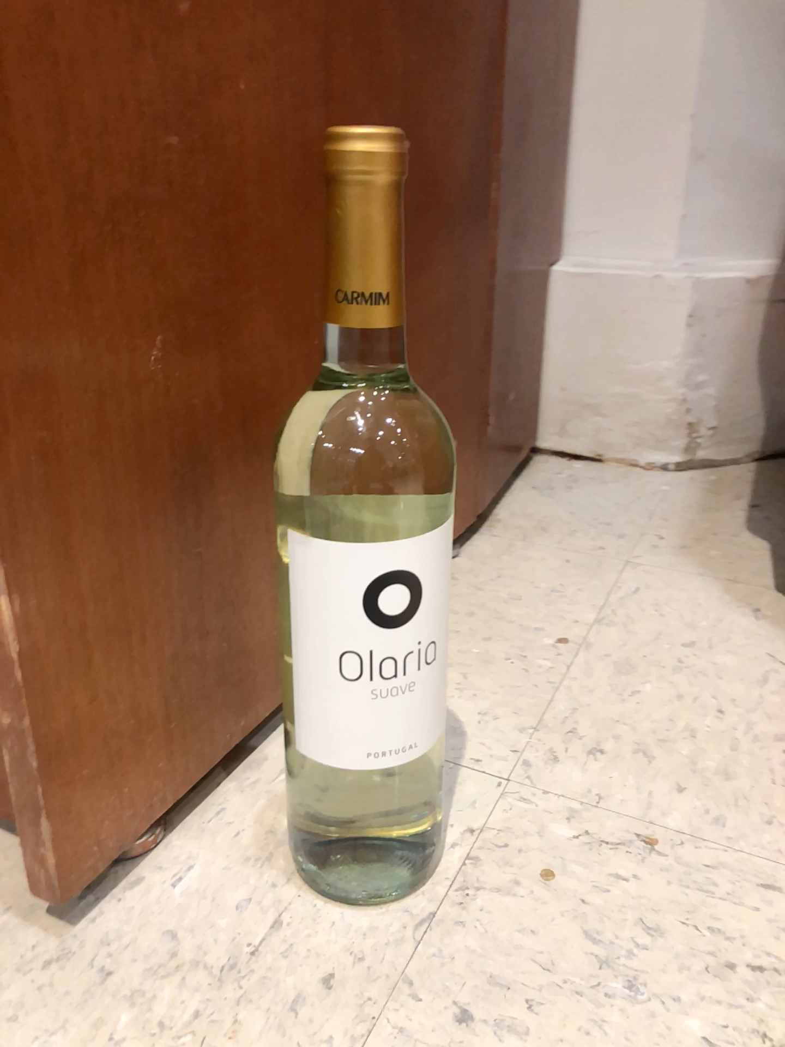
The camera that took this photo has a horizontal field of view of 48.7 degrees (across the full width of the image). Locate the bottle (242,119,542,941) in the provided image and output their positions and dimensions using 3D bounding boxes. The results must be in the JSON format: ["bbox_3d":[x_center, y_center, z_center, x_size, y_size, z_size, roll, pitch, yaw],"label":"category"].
[{"bbox_3d":[-0.004,0.012,0.355,0.080,0.318,0.070,-10,24,-23],"label":"bottle"}]
